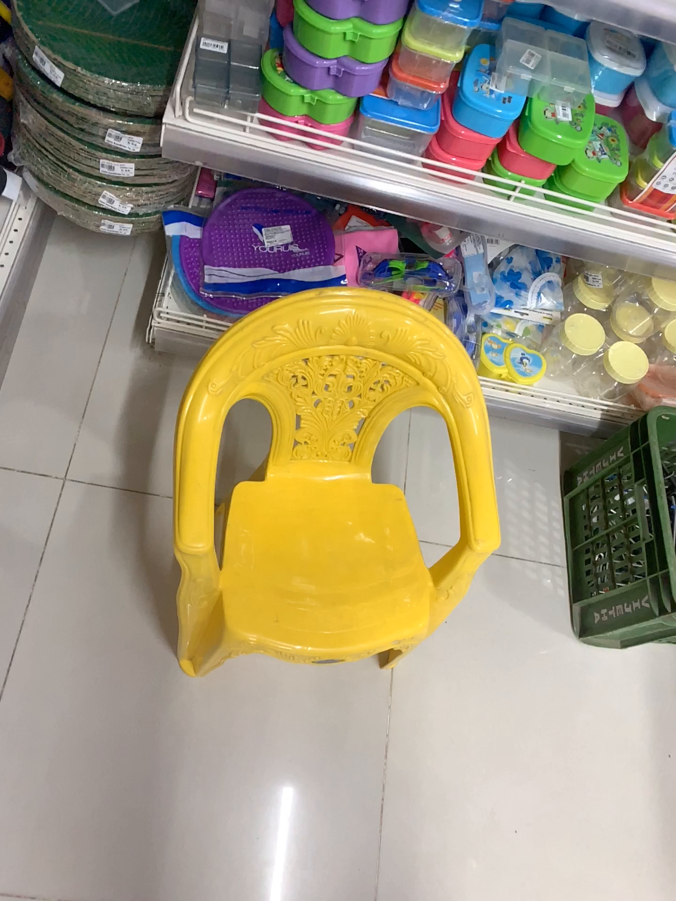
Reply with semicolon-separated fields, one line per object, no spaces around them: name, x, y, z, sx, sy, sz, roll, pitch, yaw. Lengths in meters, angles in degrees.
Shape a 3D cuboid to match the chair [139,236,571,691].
chair;-0.028;0.062;0.939;0.420;0.450;0.460;2;67;-12
